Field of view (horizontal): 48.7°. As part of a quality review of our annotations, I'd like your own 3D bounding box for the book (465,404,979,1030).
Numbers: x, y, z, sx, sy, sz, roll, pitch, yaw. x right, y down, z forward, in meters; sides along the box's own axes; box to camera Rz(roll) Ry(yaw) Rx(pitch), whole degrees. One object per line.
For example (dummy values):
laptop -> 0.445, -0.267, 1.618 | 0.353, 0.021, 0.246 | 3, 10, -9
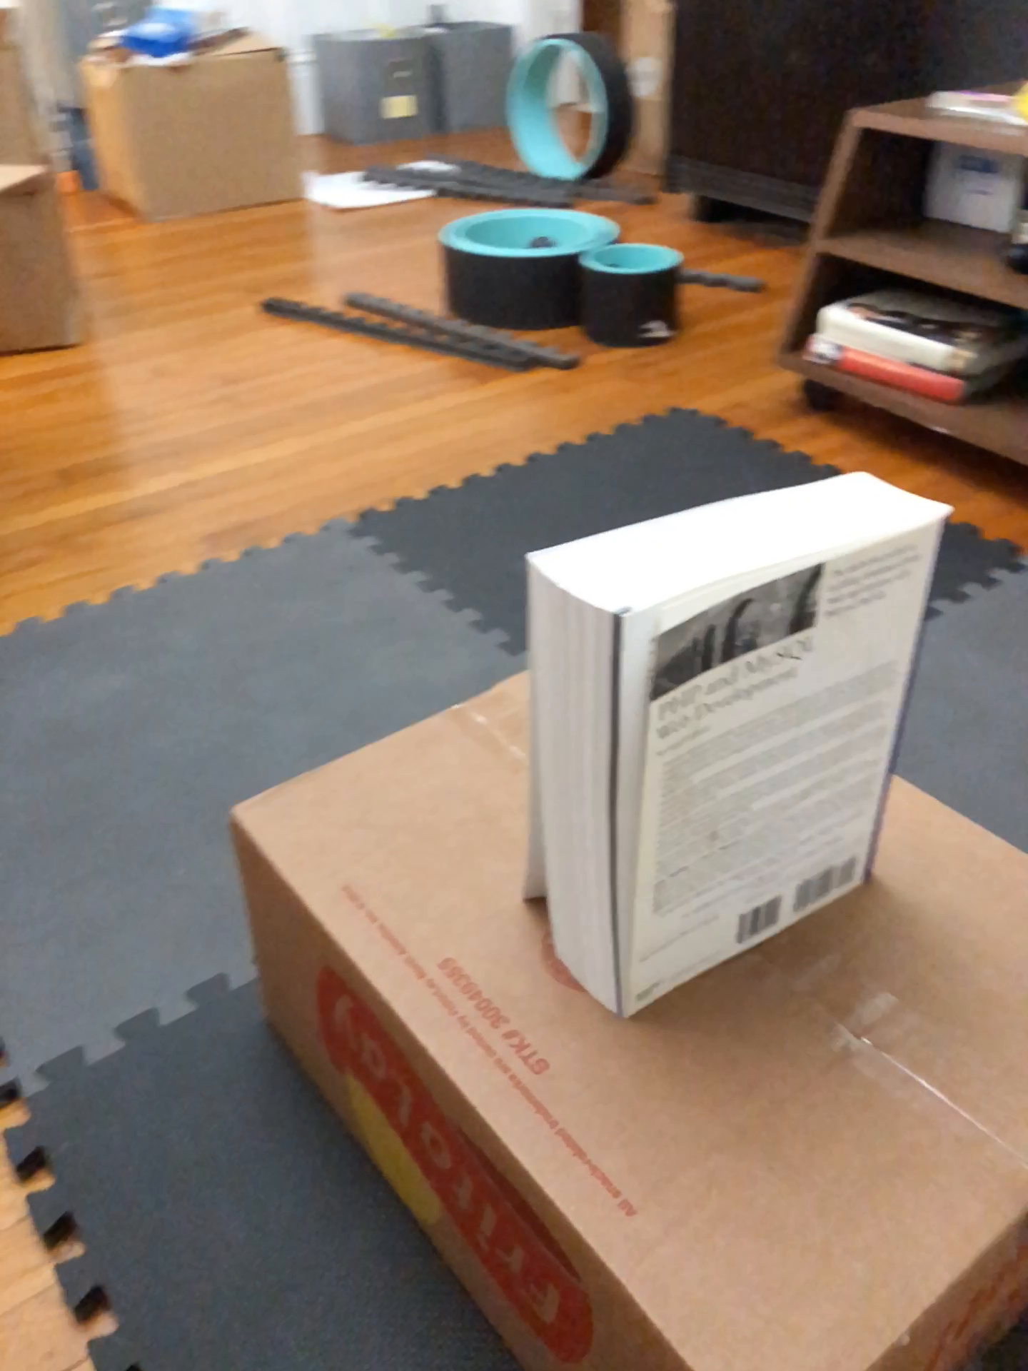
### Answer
book -> 0.092, 0.017, 0.558 | 0.200, 0.258, 0.090 | -14, 35, -18
